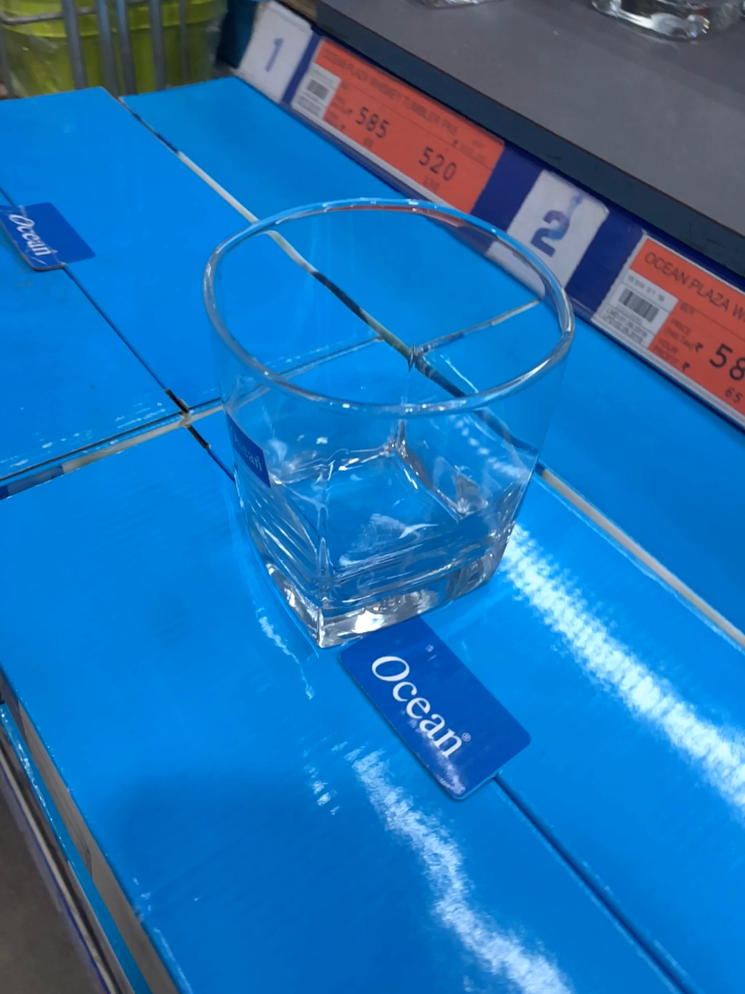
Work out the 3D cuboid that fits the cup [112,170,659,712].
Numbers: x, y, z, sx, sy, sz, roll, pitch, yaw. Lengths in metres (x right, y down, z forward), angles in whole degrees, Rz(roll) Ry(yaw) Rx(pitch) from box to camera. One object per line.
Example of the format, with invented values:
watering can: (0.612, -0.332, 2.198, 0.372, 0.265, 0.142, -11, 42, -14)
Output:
cup: (-0.002, -0.020, 0.218, 0.090, 0.080, 0.090, 3, 46, -3)
